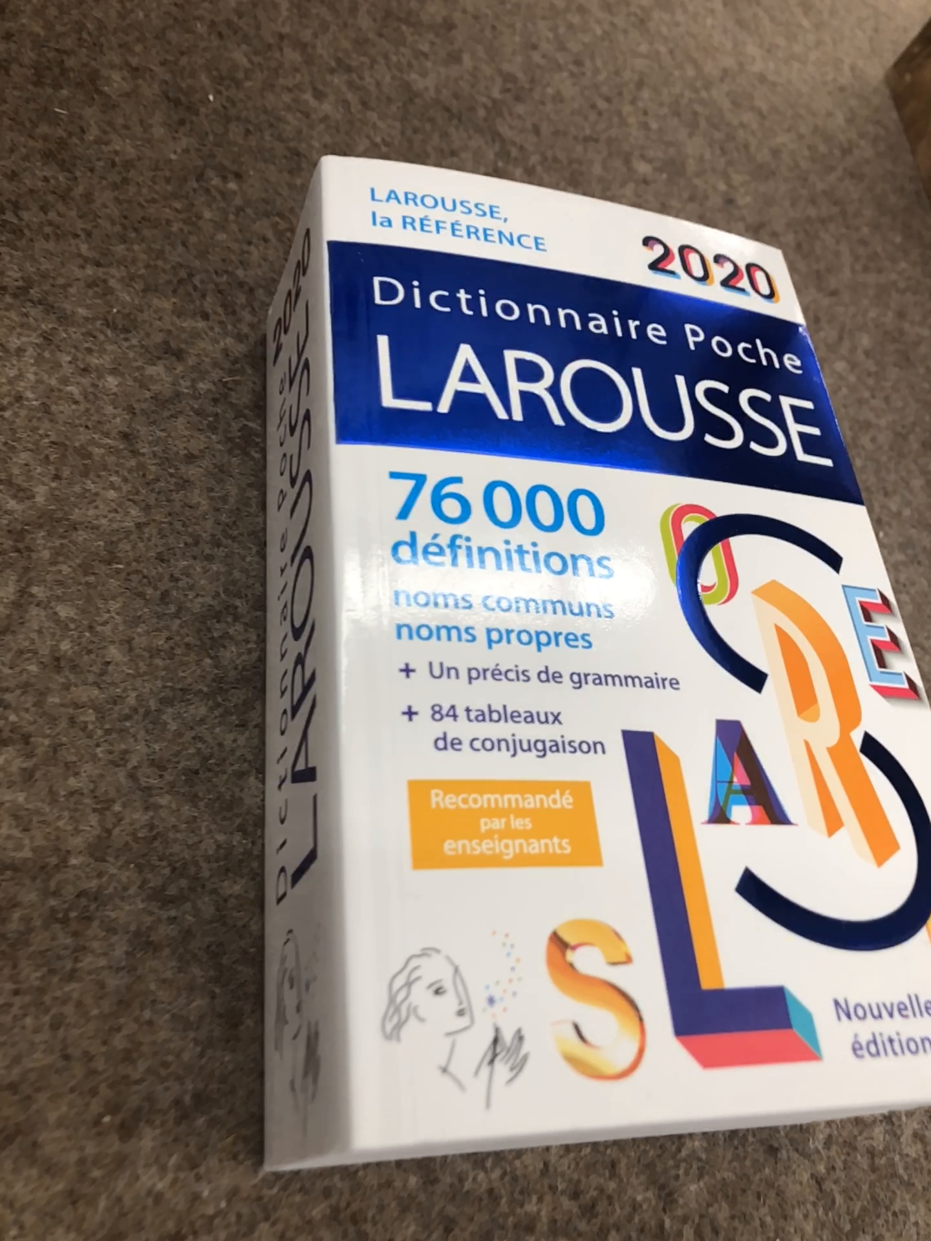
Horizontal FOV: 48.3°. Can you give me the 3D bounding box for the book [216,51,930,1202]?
[{"bbox_3d":[0.020,-0.004,0.195,0.117,0.060,0.184,7,59,-24],"label":"book"}]
